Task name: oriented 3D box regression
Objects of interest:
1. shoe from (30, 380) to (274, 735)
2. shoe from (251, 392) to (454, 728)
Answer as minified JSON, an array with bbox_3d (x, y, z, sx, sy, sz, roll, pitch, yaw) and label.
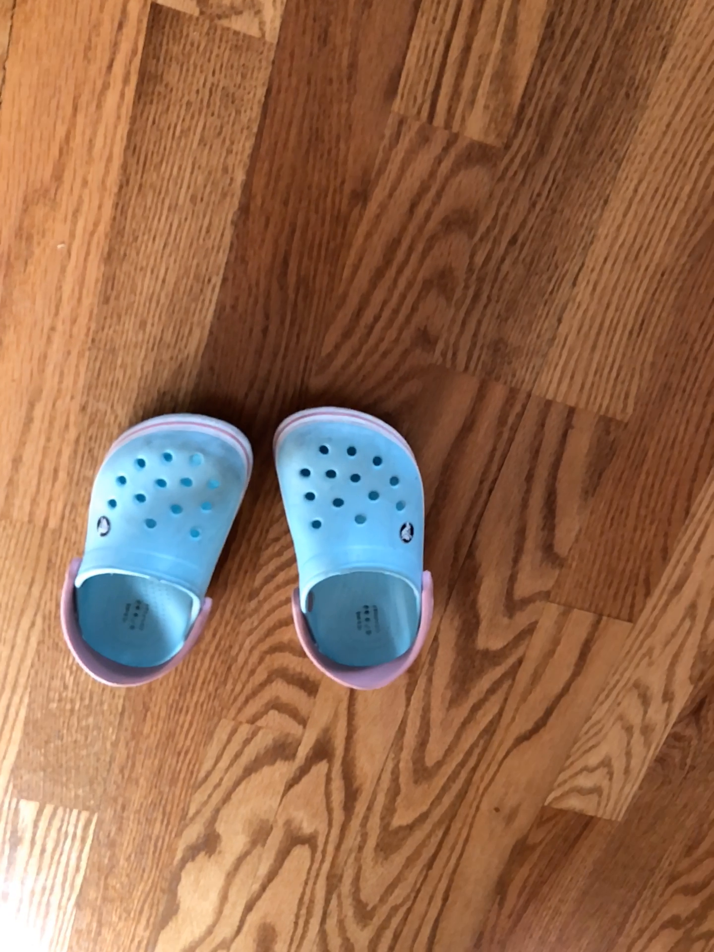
[{"bbox_3d":[-0.108,0.045,0.420,0.083,0.057,0.165,16,110,-8],"label":"shoe"},{"bbox_3d":[0.001,0.046,0.421,0.083,0.048,0.165,-7,112,1],"label":"shoe"}]
